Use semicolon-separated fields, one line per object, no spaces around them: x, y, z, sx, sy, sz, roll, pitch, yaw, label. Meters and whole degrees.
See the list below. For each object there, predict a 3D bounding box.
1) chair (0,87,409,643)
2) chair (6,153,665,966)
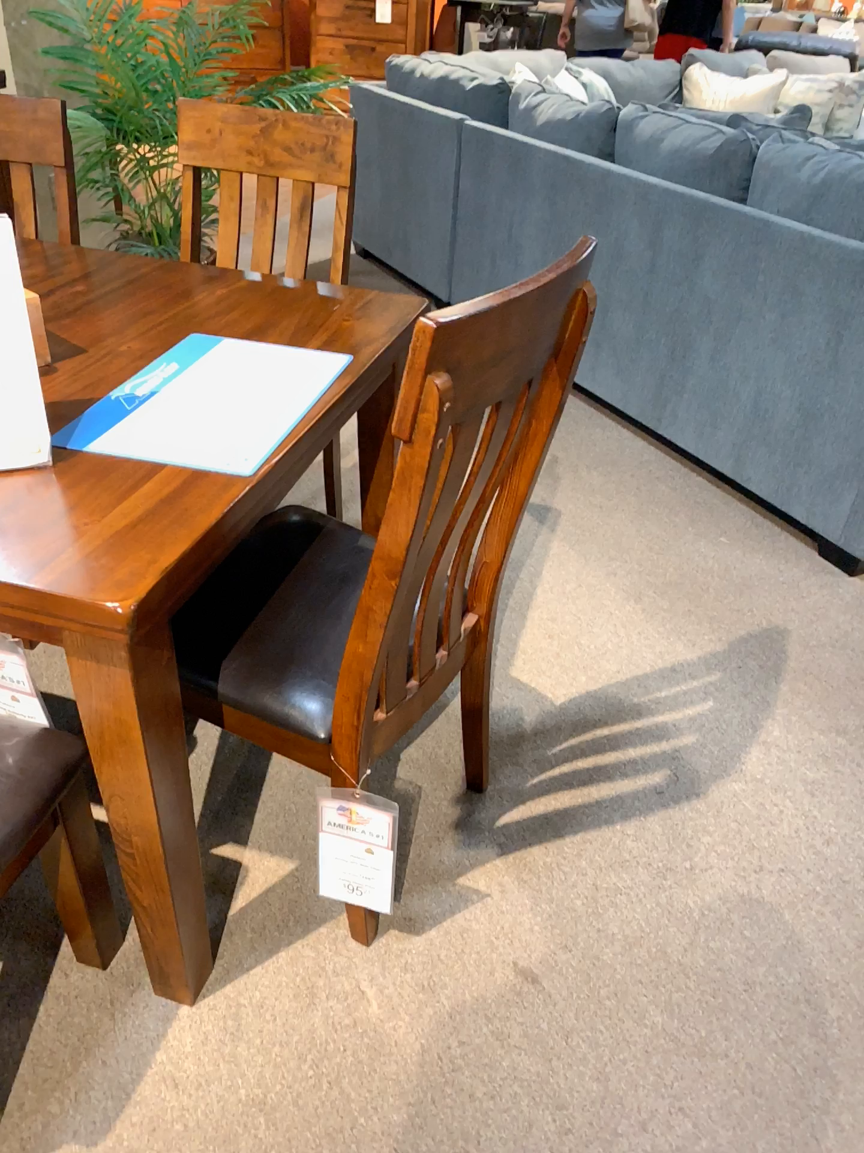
-0.422;-0.432;1.785;0.591;0.890;0.532;11;35;10;chair
-0.108;-0.047;1.259;0.540;0.890;0.533;22;38;24;chair
